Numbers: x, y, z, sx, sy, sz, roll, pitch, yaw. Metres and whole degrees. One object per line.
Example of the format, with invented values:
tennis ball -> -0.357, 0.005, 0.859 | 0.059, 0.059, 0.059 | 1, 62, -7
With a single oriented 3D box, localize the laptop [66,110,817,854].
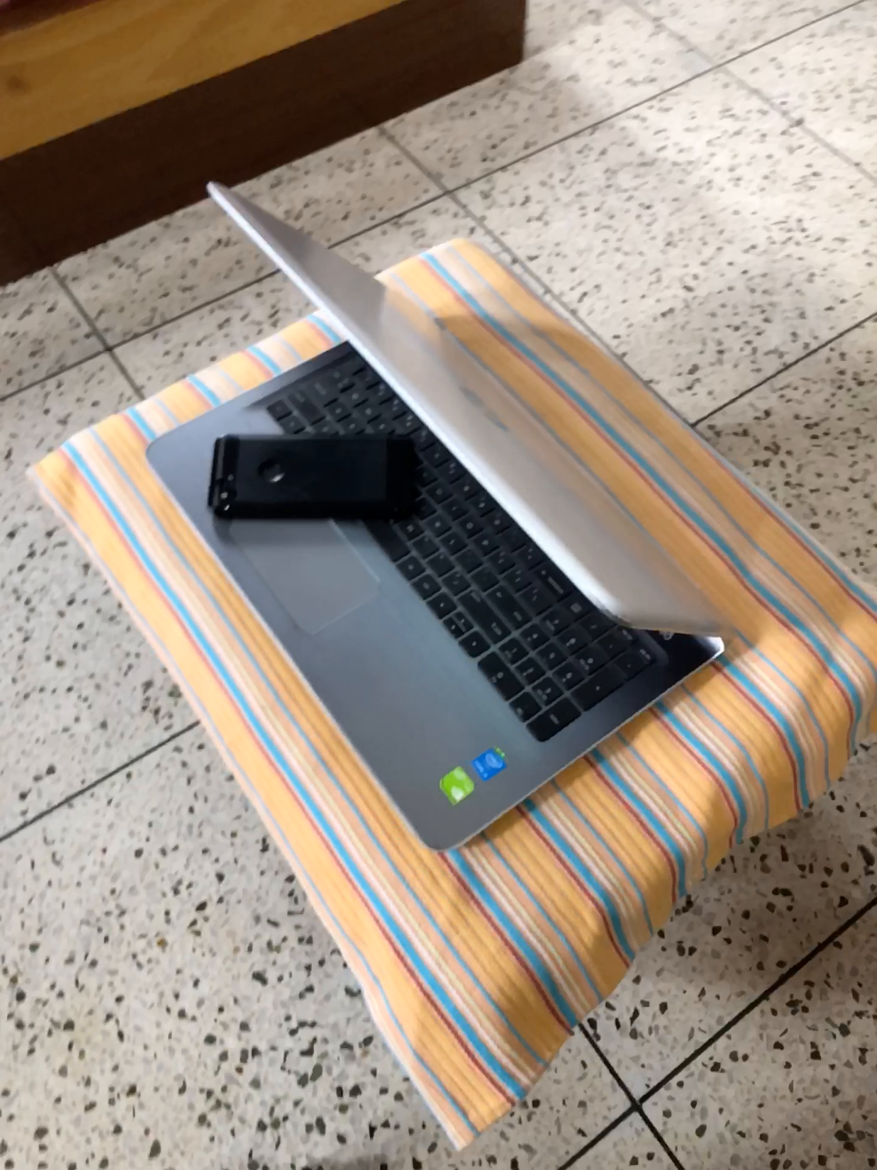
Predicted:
laptop -> -0.014, -0.076, 0.611 | 0.237, 0.184, 0.372 | -32, 65, -17
